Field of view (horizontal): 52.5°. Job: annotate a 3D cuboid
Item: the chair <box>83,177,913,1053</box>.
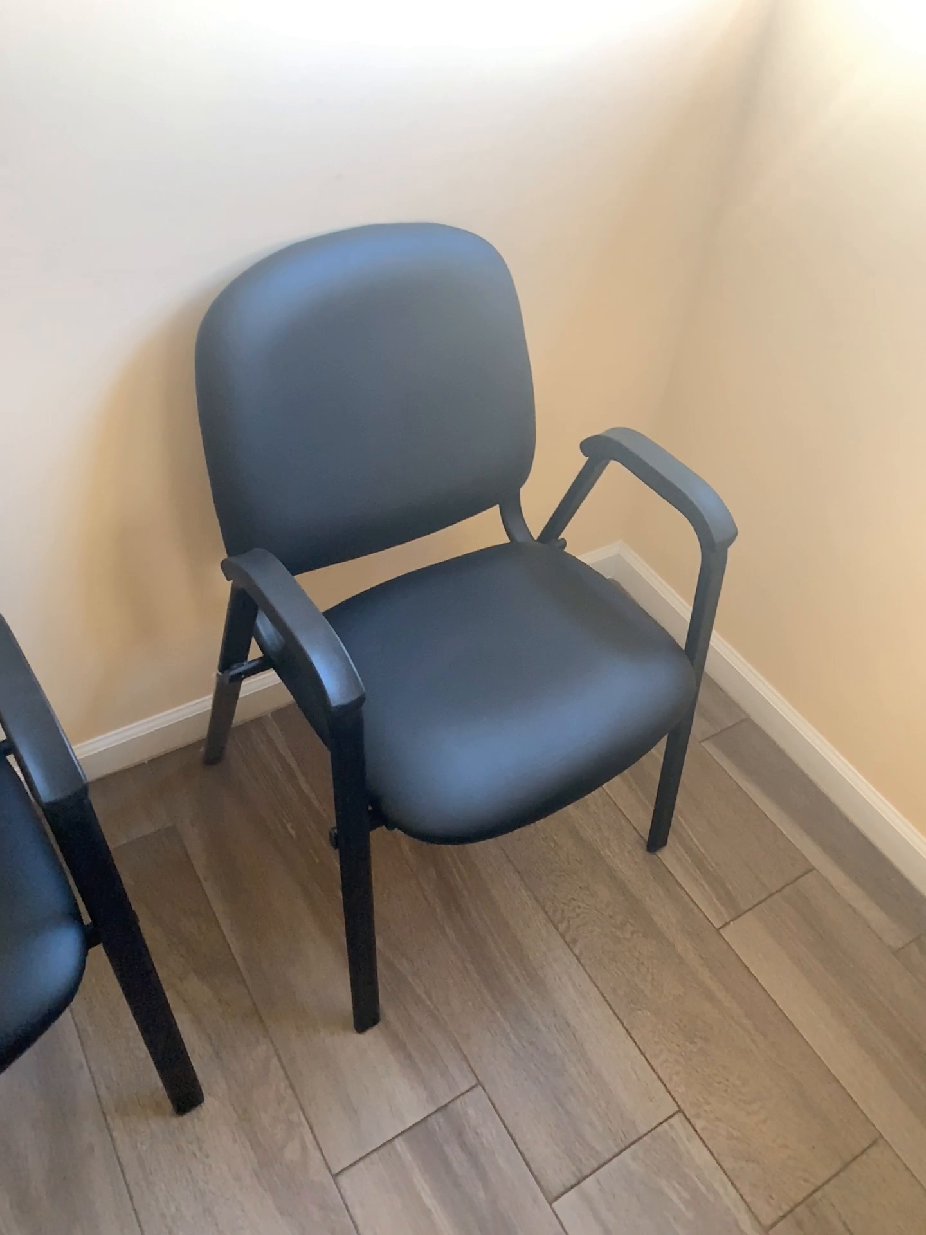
[{"bbox_3d":[-0.013,-0.004,1.266,0.636,0.847,0.590,-22,53,-27],"label":"chair"}]
